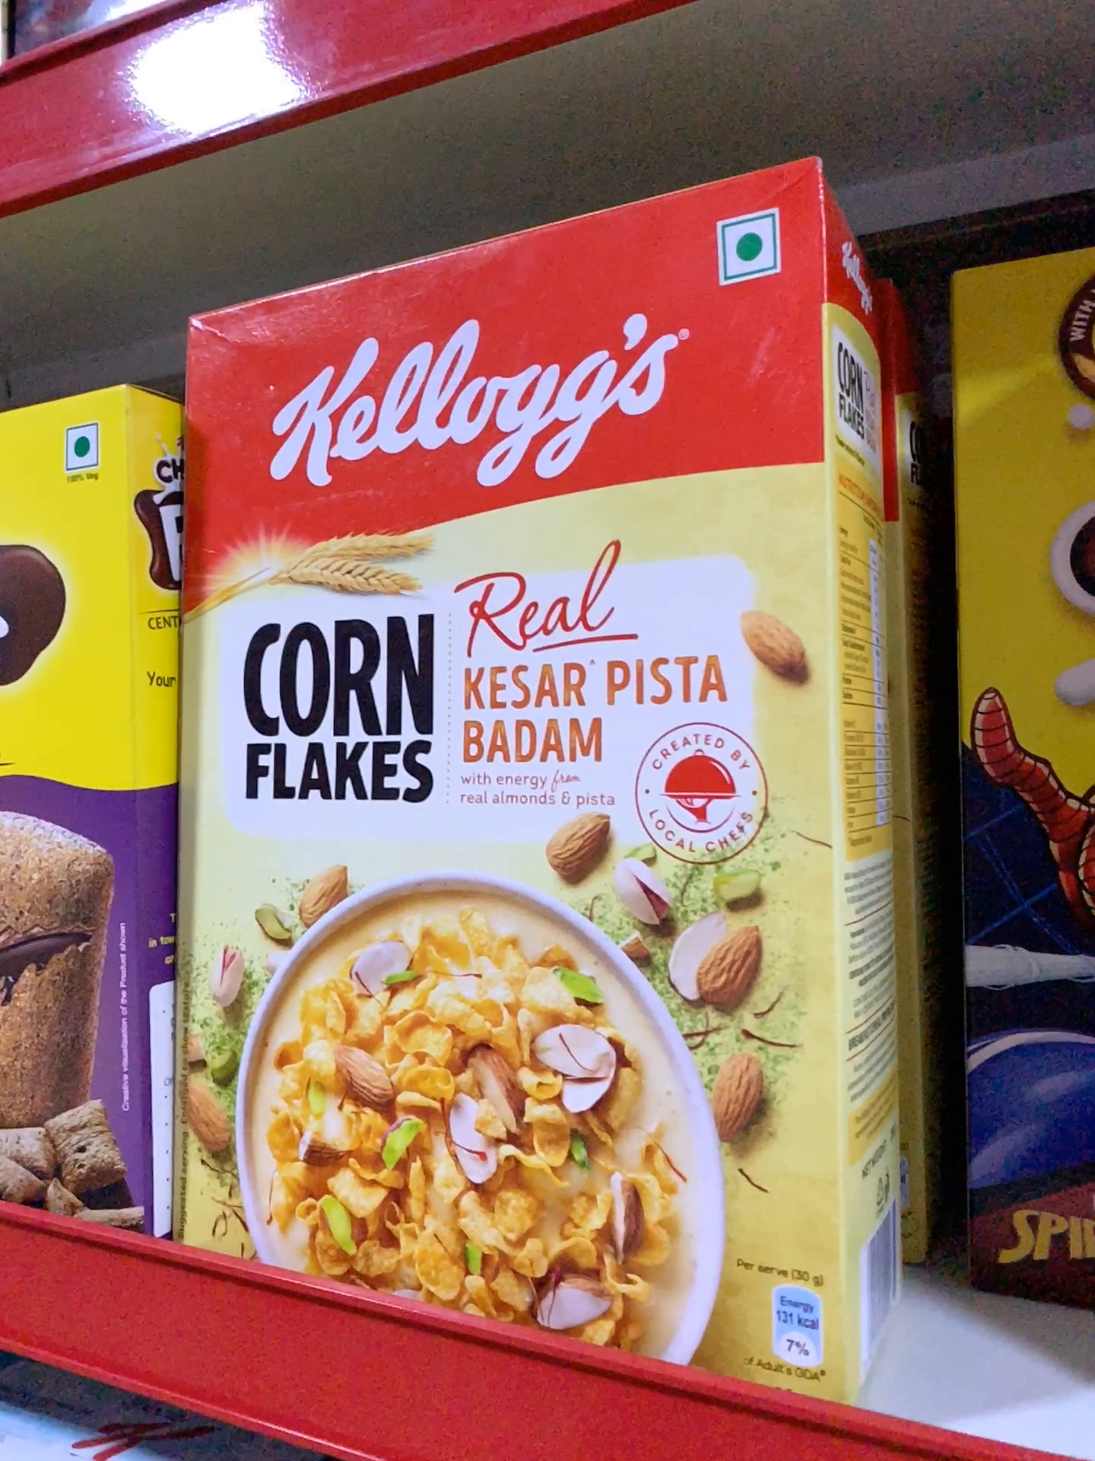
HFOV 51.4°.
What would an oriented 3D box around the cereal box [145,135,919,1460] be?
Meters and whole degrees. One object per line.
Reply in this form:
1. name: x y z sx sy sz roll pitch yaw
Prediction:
1. cereal box: -0.009 0.013 0.286 0.180 0.250 0.070 -2 -2 28
